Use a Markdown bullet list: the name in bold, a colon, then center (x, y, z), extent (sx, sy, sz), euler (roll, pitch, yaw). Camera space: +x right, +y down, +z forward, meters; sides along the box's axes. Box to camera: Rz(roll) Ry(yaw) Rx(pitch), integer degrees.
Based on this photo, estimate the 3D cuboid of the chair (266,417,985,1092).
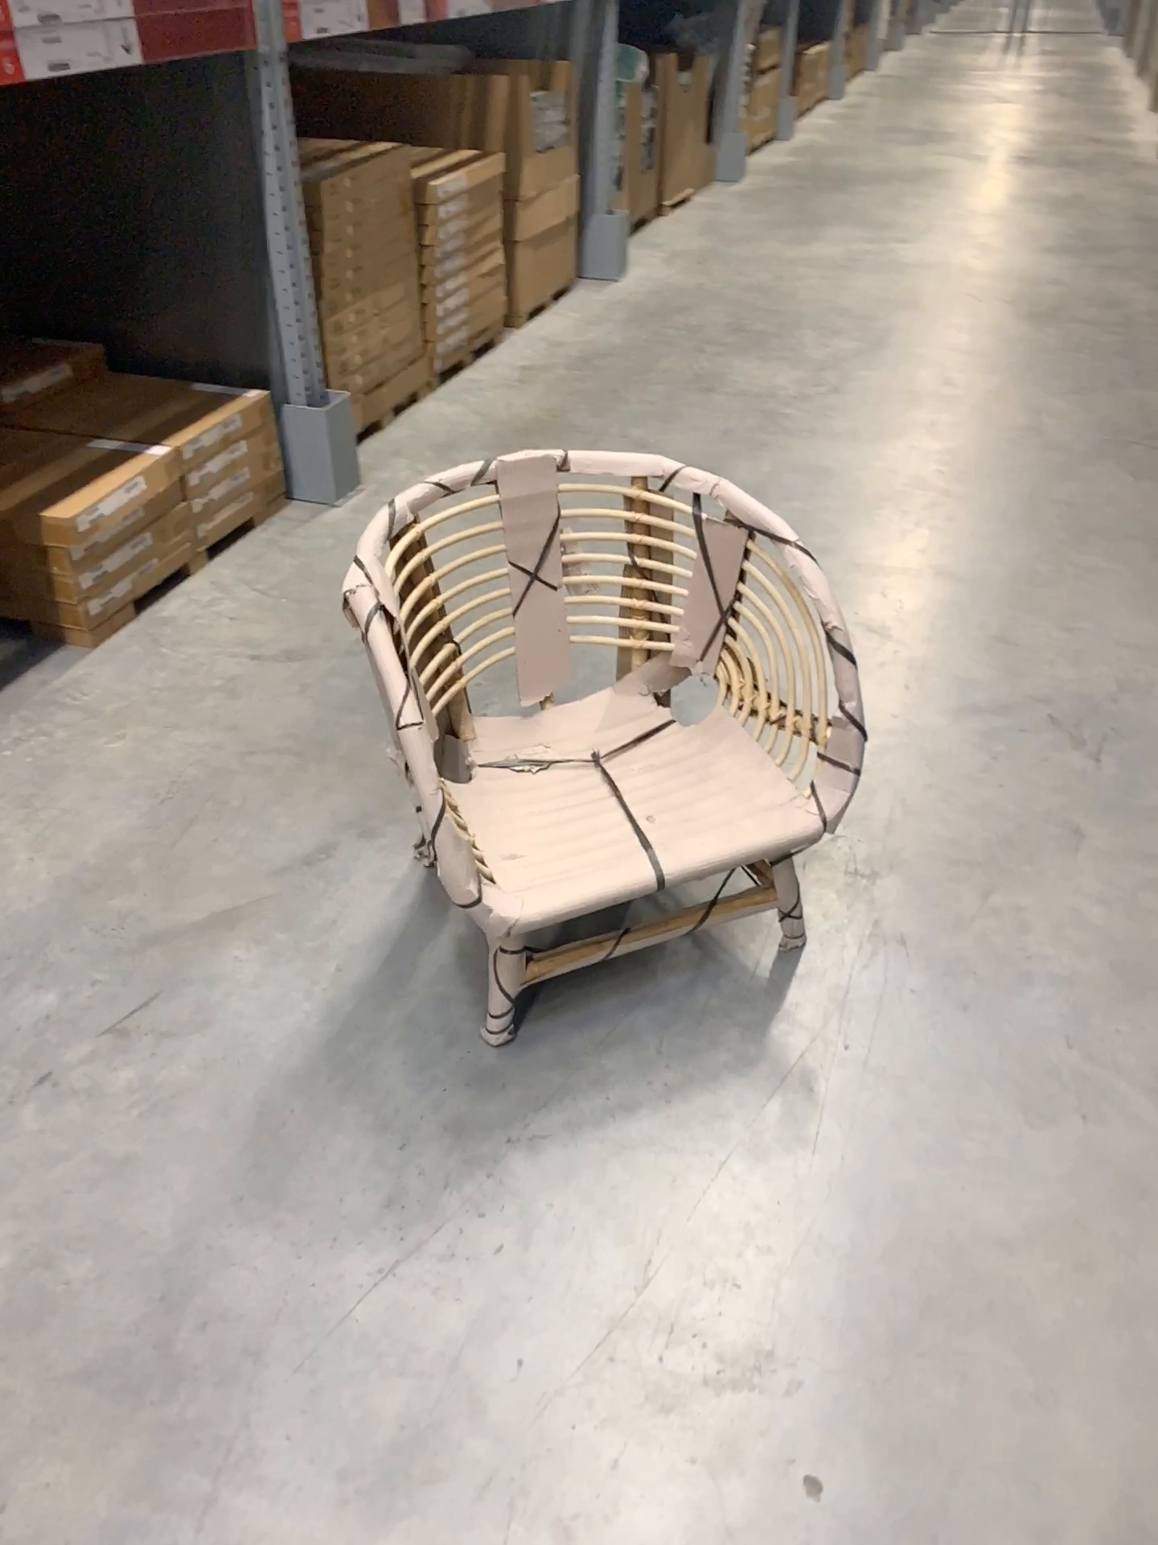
- **chair**: center (0.013, -0.098, 1.796), extent (0.750, 0.568, 0.763), euler (-14, 37, -19)
